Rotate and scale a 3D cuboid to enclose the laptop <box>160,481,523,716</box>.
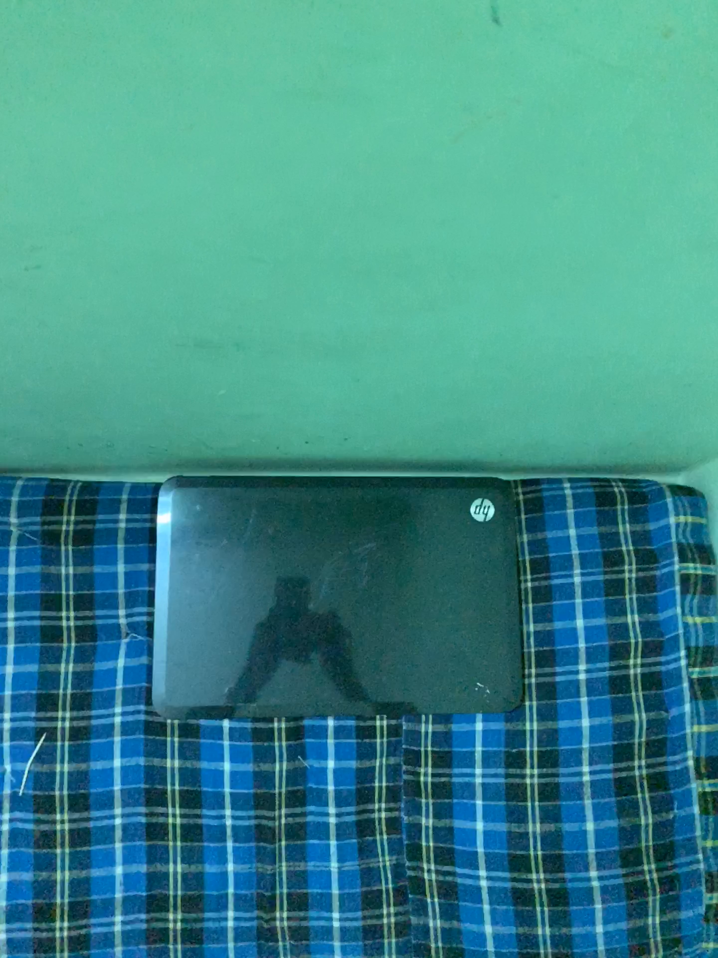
[{"bbox_3d":[-0.016,0.114,0.716,0.346,0.018,0.217,-1,82,-4],"label":"laptop"}]
